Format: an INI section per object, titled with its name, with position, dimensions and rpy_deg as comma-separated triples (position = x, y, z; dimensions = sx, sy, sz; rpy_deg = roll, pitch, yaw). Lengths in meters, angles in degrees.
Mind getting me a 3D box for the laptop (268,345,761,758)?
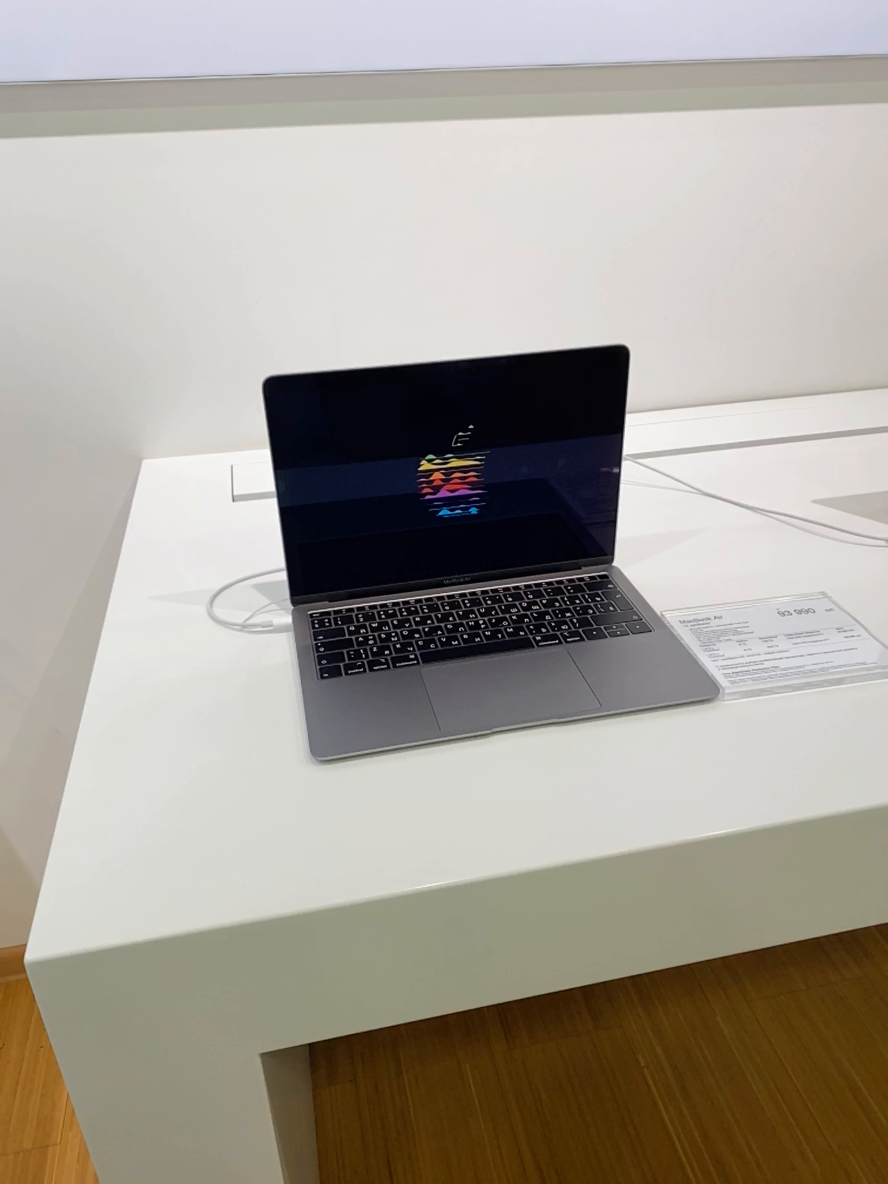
[laptop]
position = 0.034, -0.049, 0.698
dimensions = 0.301, 0.211, 0.226
rpy_deg = -7, 28, -10
